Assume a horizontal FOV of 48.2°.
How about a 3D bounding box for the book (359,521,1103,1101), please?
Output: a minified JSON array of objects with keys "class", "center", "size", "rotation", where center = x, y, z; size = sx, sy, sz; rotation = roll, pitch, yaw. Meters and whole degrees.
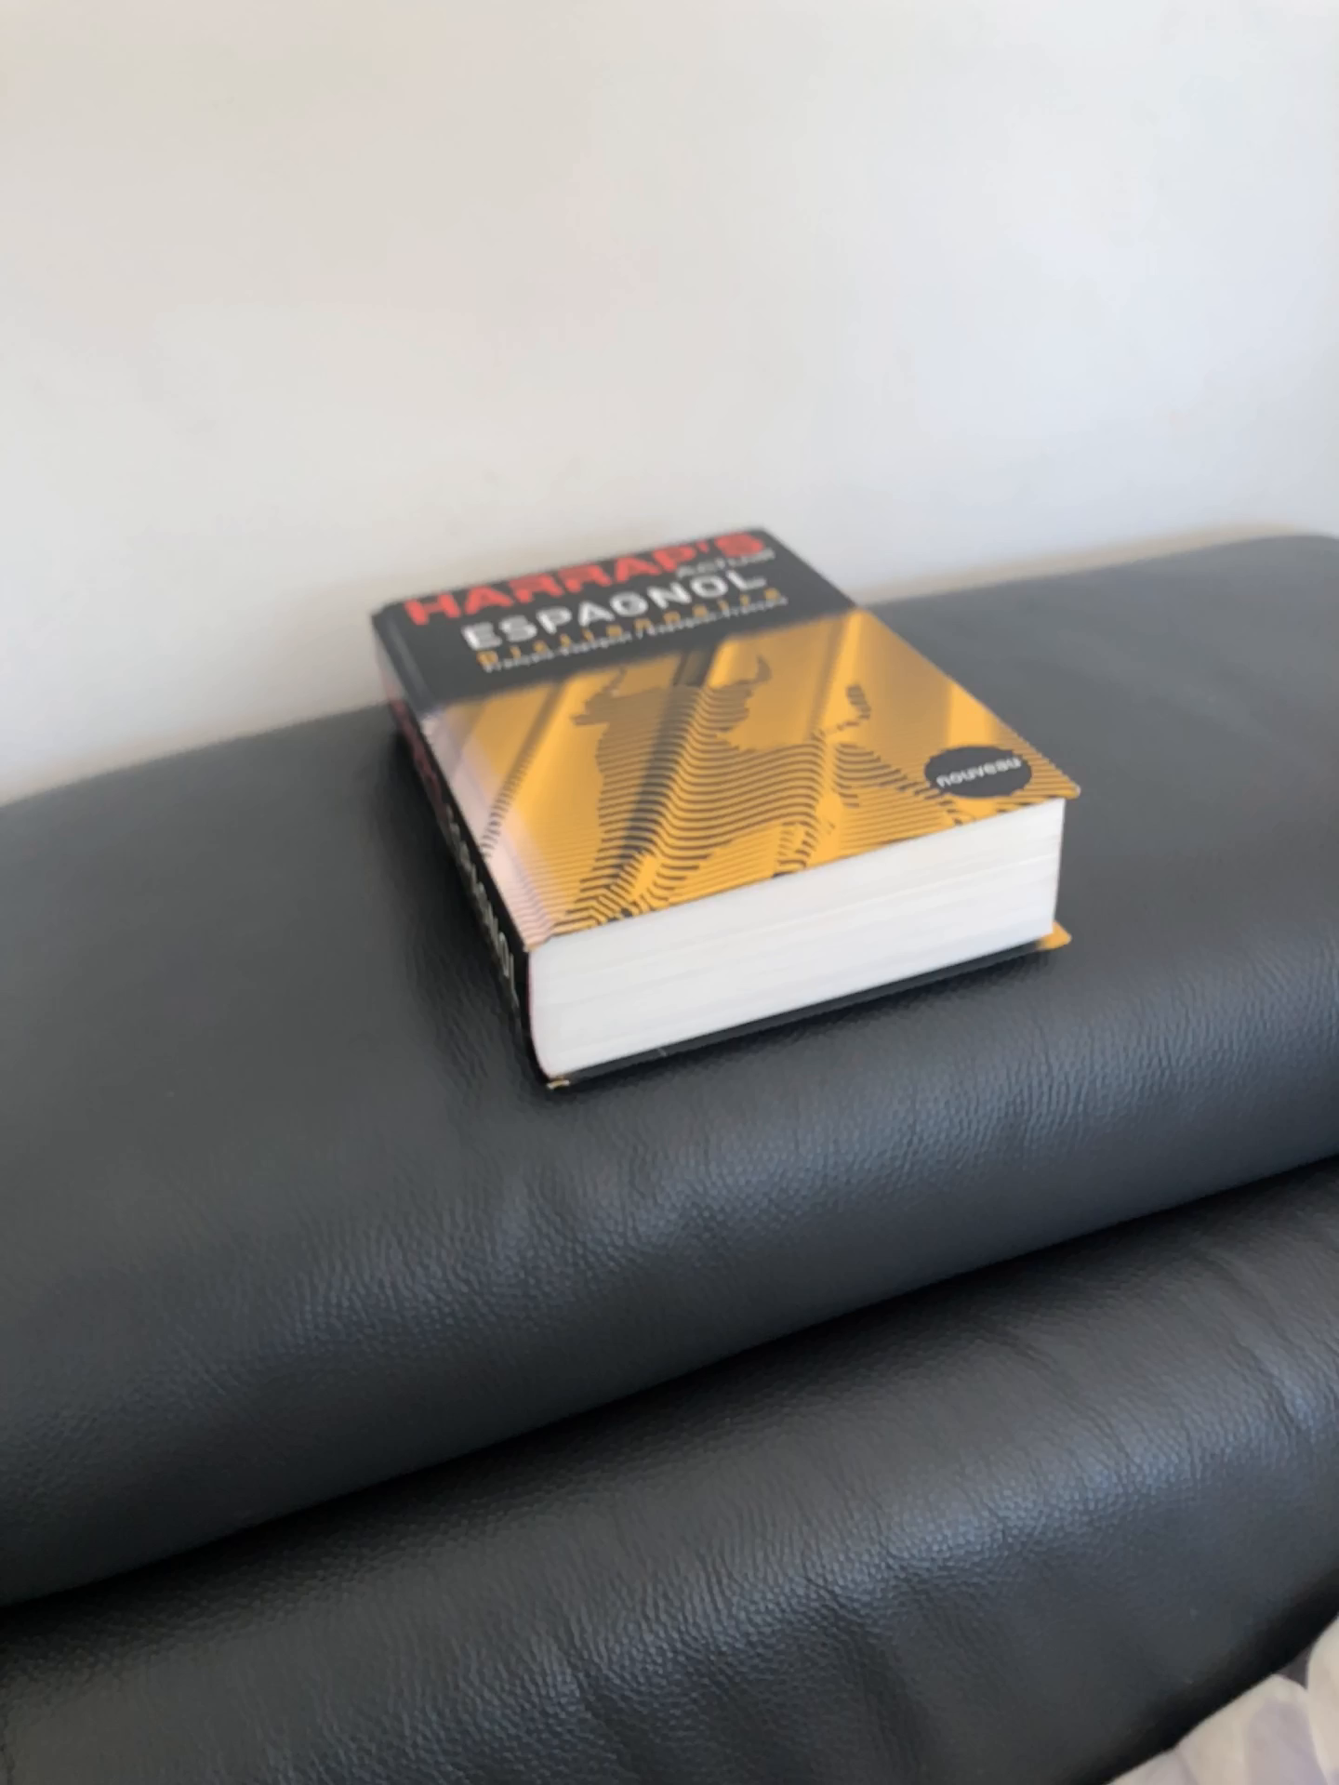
[{"class":"book","center":[0.004,-0.051,0.547],"size":[0.185,0.050,0.261],"rotation":[-15,36,-13]}]
